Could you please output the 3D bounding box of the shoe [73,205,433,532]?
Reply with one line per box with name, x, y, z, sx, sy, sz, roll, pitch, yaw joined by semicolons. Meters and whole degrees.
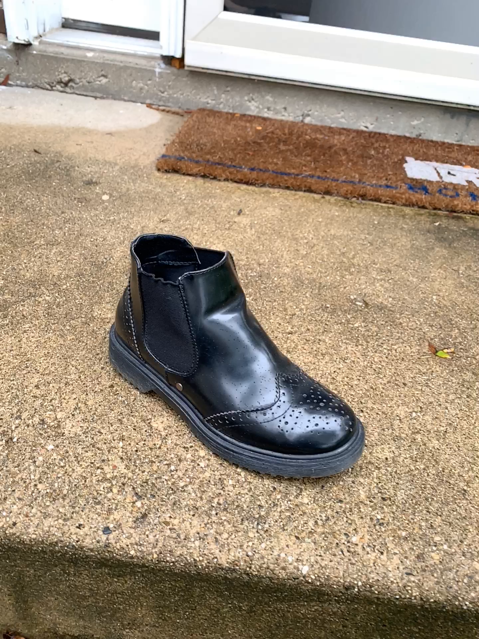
shoe;-0.001;0.026;0.435;0.267;0.148;0.119;26;38;23
